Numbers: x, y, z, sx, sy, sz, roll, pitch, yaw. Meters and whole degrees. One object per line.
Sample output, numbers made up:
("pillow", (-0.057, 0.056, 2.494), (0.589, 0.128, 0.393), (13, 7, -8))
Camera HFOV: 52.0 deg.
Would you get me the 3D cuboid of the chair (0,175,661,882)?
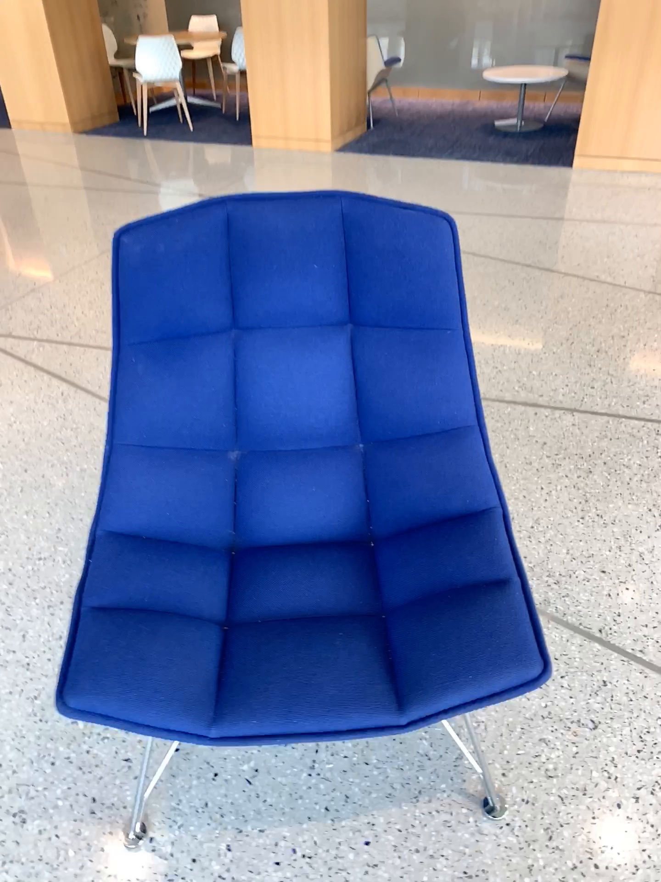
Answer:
("chair", (-0.045, 0.128, 1.262), (0.798, 0.963, 0.835), (-3, 35, -1))
